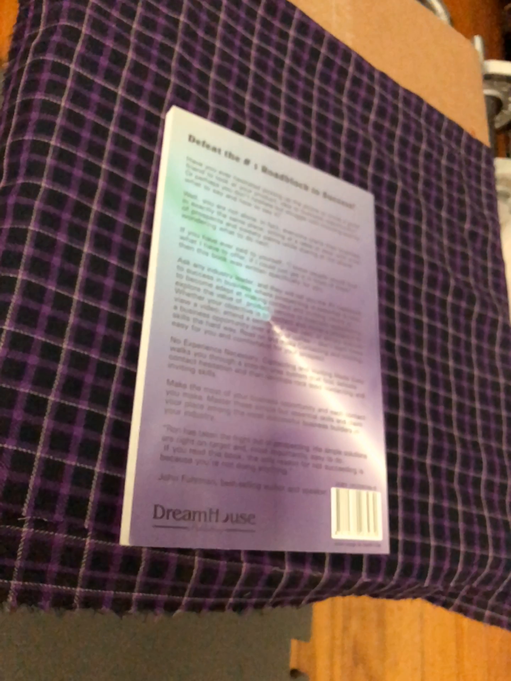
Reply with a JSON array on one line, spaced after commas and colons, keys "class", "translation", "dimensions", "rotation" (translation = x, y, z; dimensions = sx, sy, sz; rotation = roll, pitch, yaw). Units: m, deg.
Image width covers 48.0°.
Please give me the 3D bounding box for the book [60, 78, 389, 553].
[{"class": "book", "translation": [-0.001, -0.008, 0.298], "dimensions": [0.160, 0.020, 0.220], "rotation": [13, 68, -30]}]
